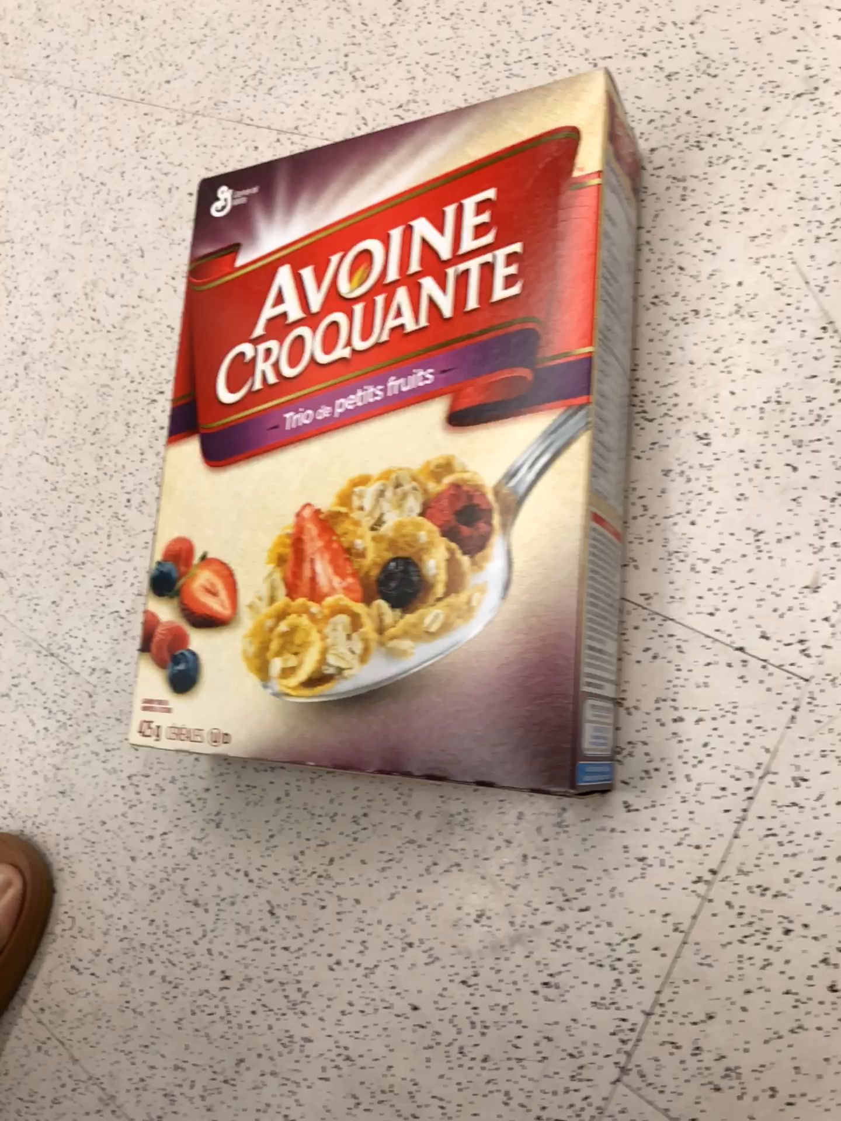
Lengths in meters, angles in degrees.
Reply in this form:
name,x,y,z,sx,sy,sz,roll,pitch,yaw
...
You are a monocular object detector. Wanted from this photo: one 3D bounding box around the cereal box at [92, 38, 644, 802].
name,x,y,z,sx,sy,sz,roll,pitch,yaw
cereal box,-0.023,-0.050,0.394,0.211,0.060,0.270,-1,79,29
